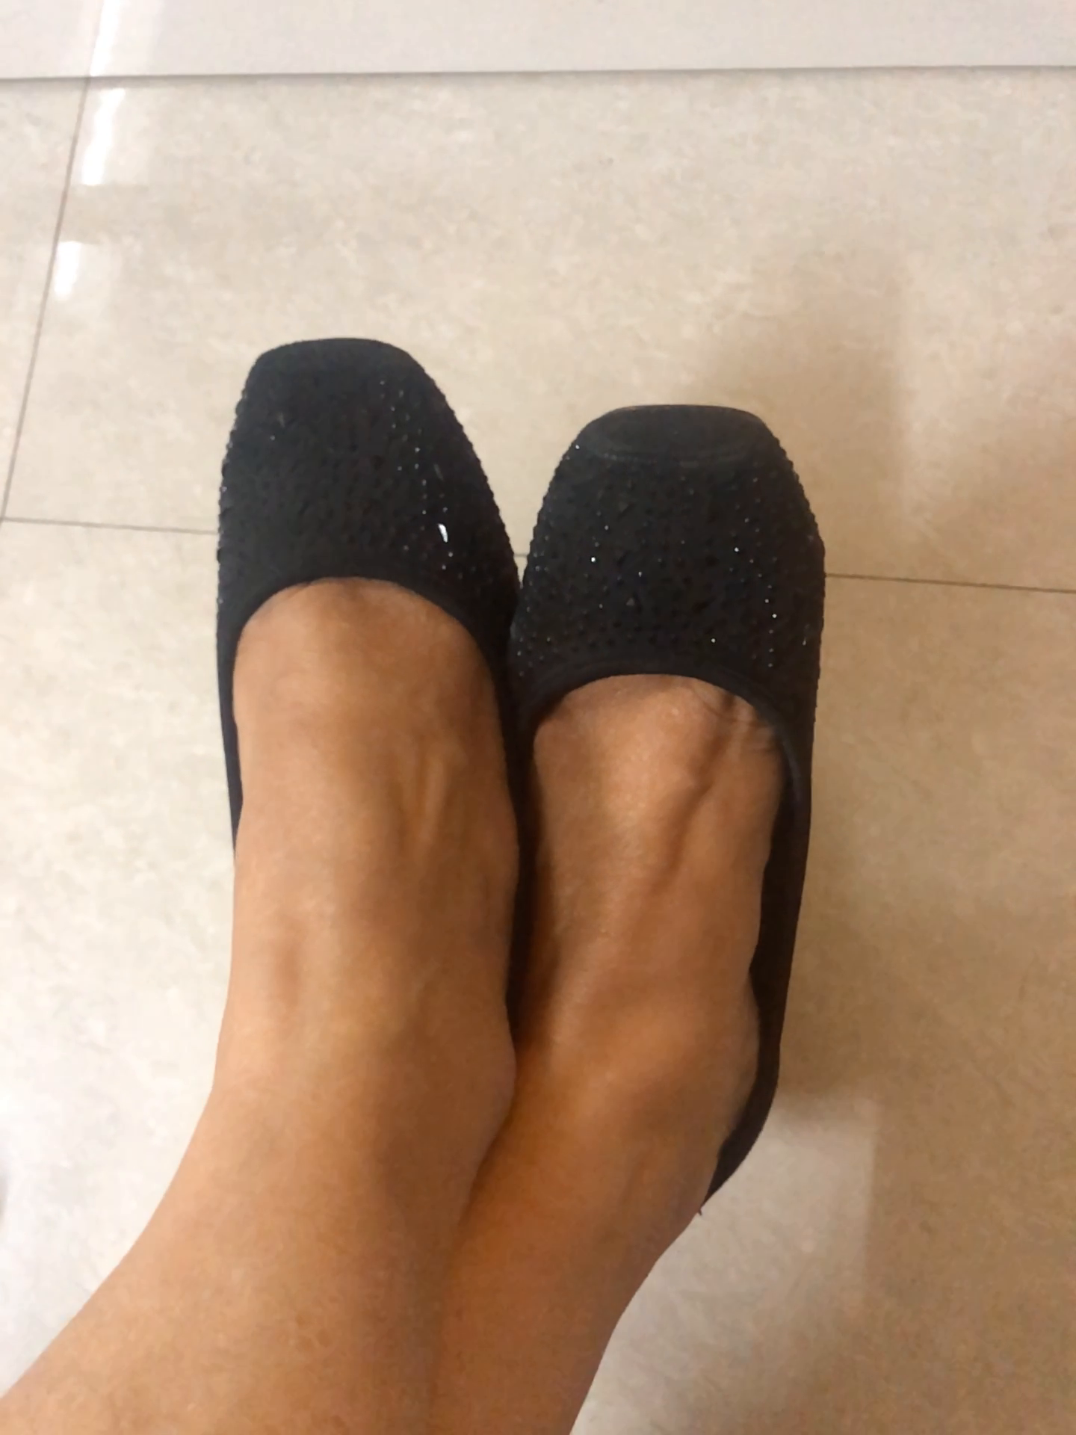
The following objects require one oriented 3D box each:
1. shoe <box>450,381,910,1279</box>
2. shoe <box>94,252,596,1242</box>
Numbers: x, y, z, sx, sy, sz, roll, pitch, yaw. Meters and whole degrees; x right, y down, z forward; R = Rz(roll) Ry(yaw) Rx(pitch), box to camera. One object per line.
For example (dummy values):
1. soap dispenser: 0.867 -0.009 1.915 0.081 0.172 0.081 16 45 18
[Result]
1. shoe: 0.037 0.034 0.339 0.100 0.070 0.239 5 114 12
2. shoe: -0.045 0.014 0.357 0.100 0.070 0.270 -5 104 3
